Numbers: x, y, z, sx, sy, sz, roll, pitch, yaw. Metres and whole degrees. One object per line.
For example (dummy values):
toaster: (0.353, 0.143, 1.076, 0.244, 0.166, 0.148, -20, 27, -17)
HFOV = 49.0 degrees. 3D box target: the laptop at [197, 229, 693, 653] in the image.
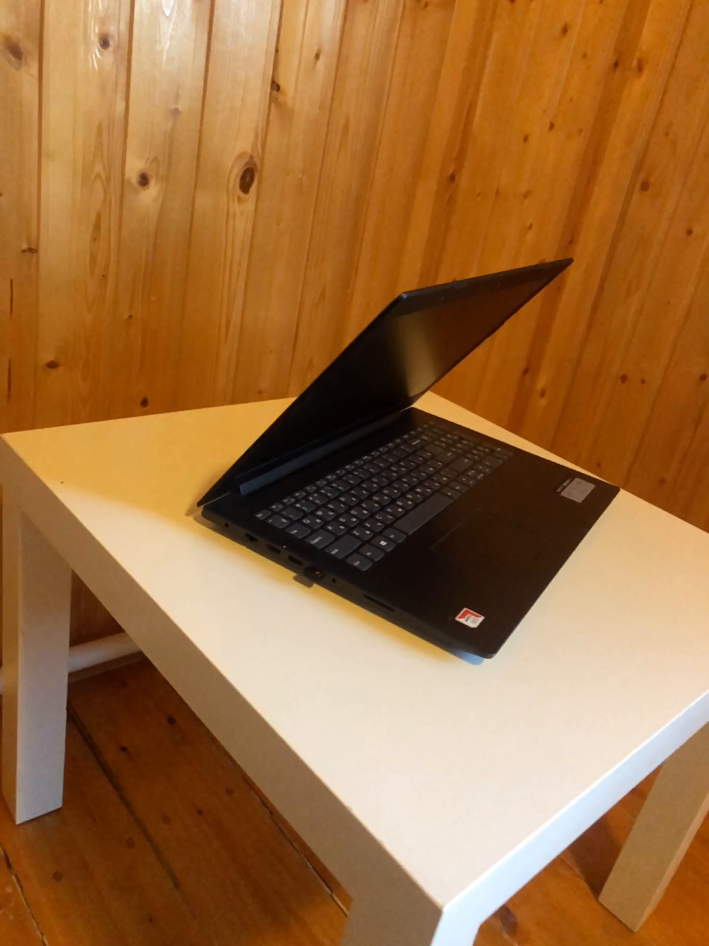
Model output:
laptop: (0.097, -0.071, 0.670, 0.250, 0.206, 0.374, 23, 27, 24)
